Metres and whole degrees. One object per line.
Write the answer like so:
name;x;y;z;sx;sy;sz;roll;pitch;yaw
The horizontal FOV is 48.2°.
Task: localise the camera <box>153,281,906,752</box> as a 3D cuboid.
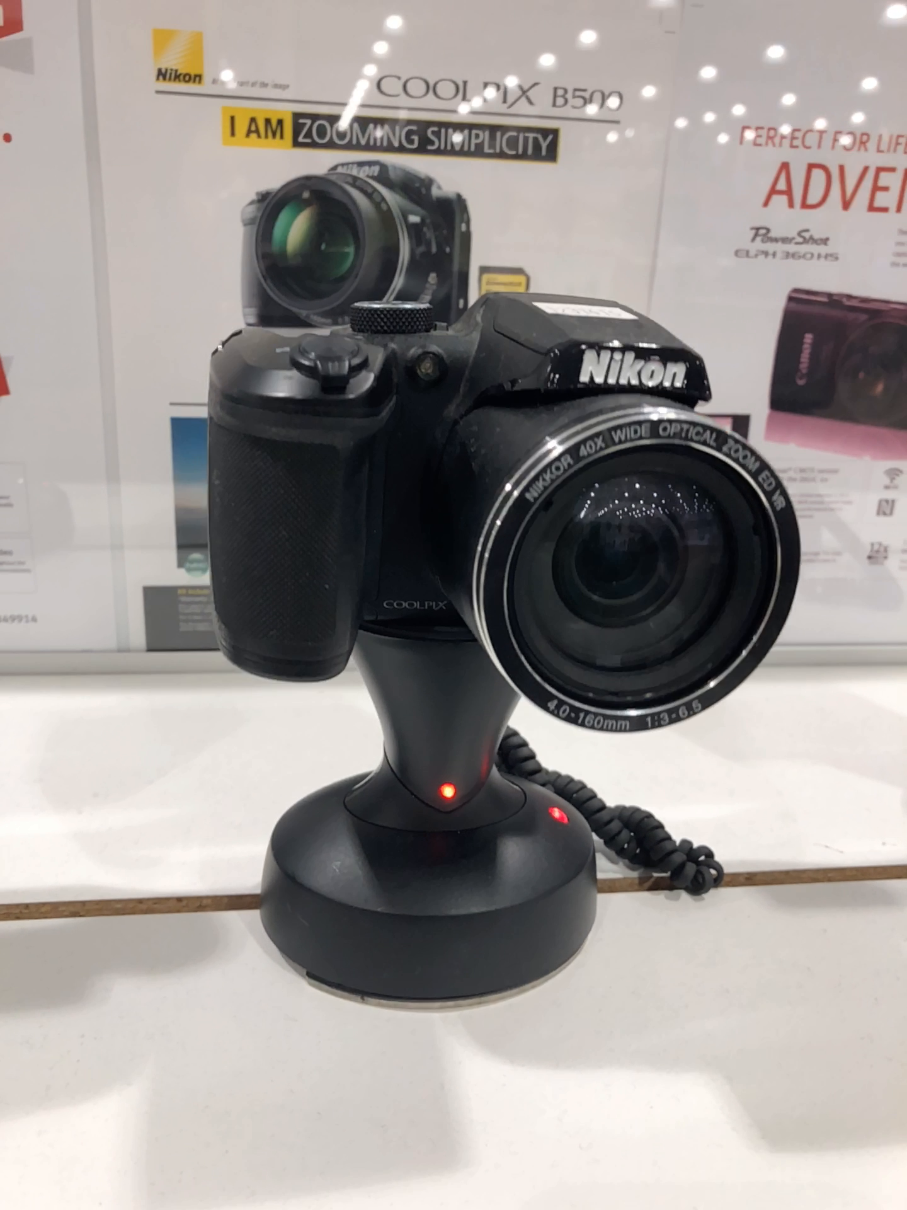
camera;0.006;-0.027;0.214;0.120;0.070;0.100;-1;21;-10
